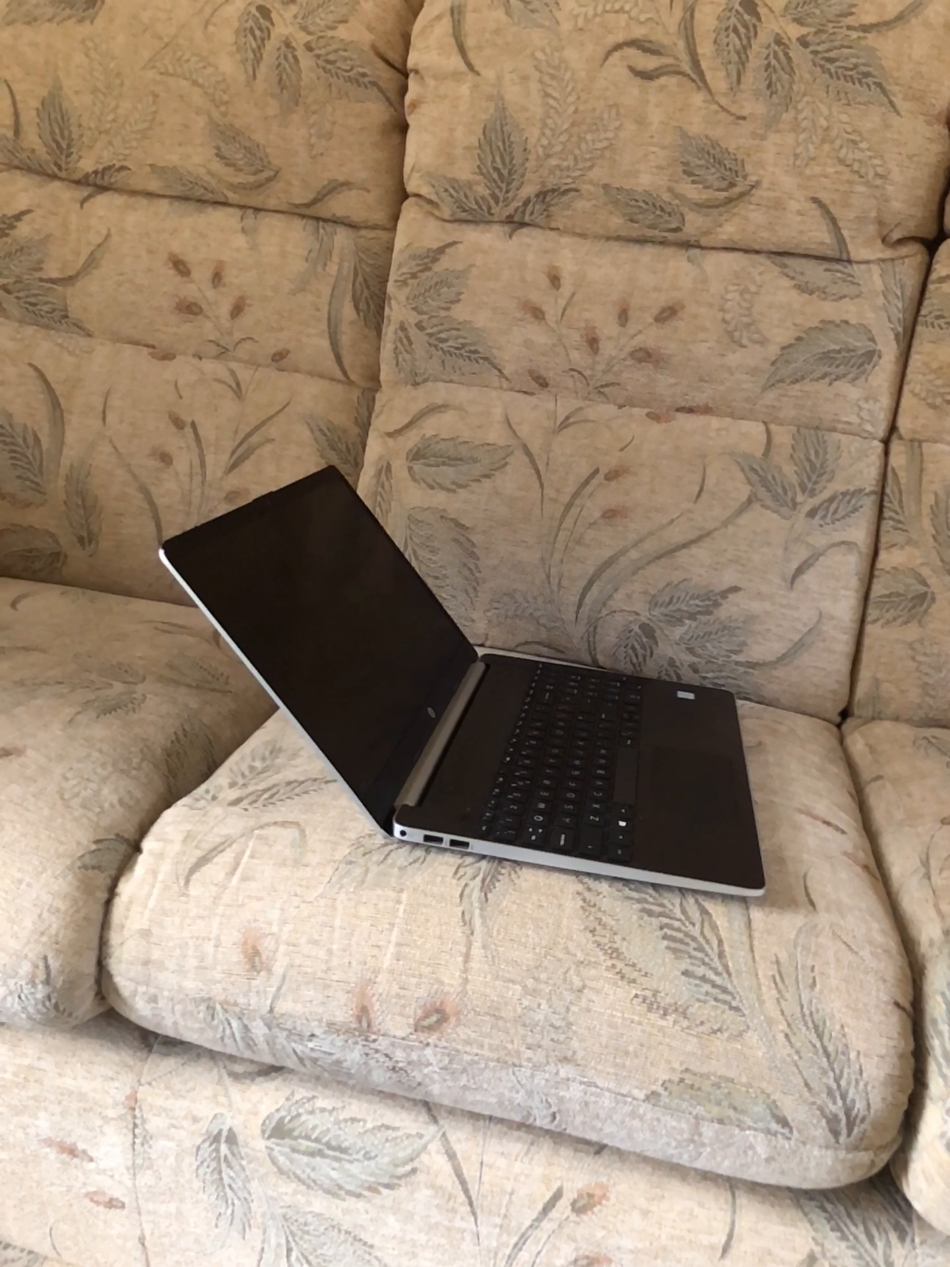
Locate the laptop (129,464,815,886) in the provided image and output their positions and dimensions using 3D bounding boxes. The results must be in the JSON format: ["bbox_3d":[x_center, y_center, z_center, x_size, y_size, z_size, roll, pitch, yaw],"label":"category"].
[{"bbox_3d":[0.018,0.002,0.789,0.397,0.163,0.340,8,20,7],"label":"laptop"}]
